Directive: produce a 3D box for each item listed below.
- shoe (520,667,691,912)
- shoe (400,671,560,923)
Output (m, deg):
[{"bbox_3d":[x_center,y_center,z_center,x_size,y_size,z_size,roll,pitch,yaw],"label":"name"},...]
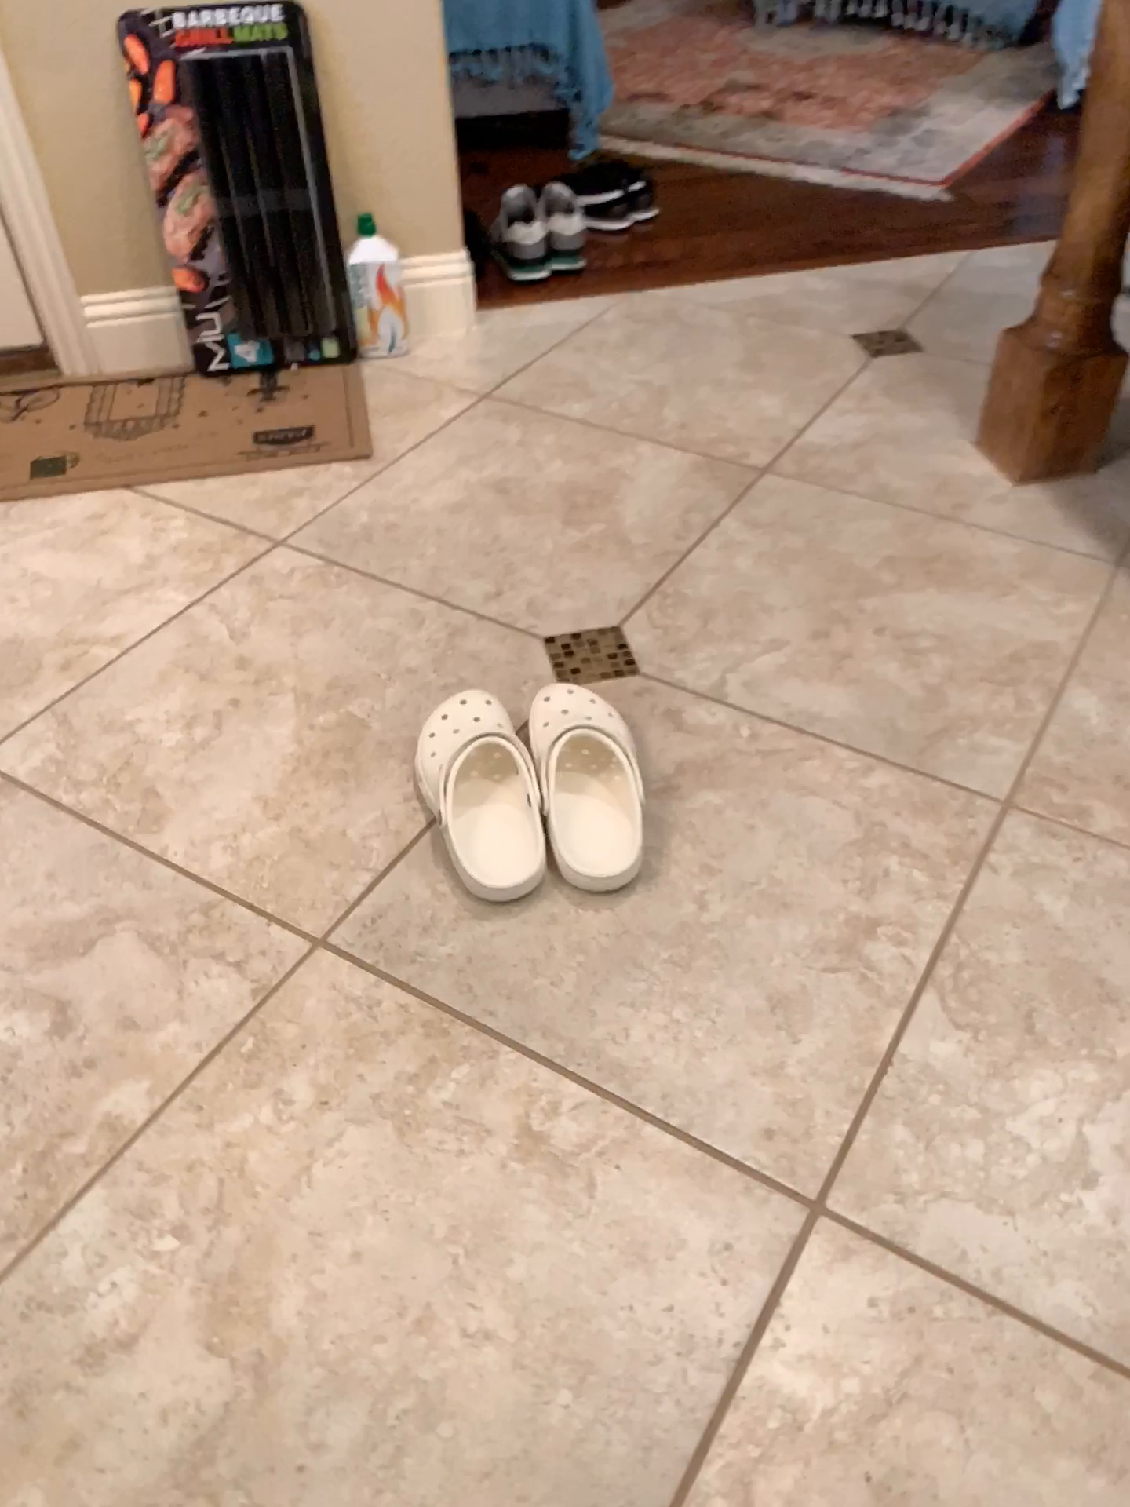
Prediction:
[{"bbox_3d":[0.035,0.028,1.175,0.129,0.073,0.262,-6,43,-4],"label":"shoe"},{"bbox_3d":[-0.089,0.035,1.157,0.119,0.073,0.262,-9,43,-7],"label":"shoe"}]
